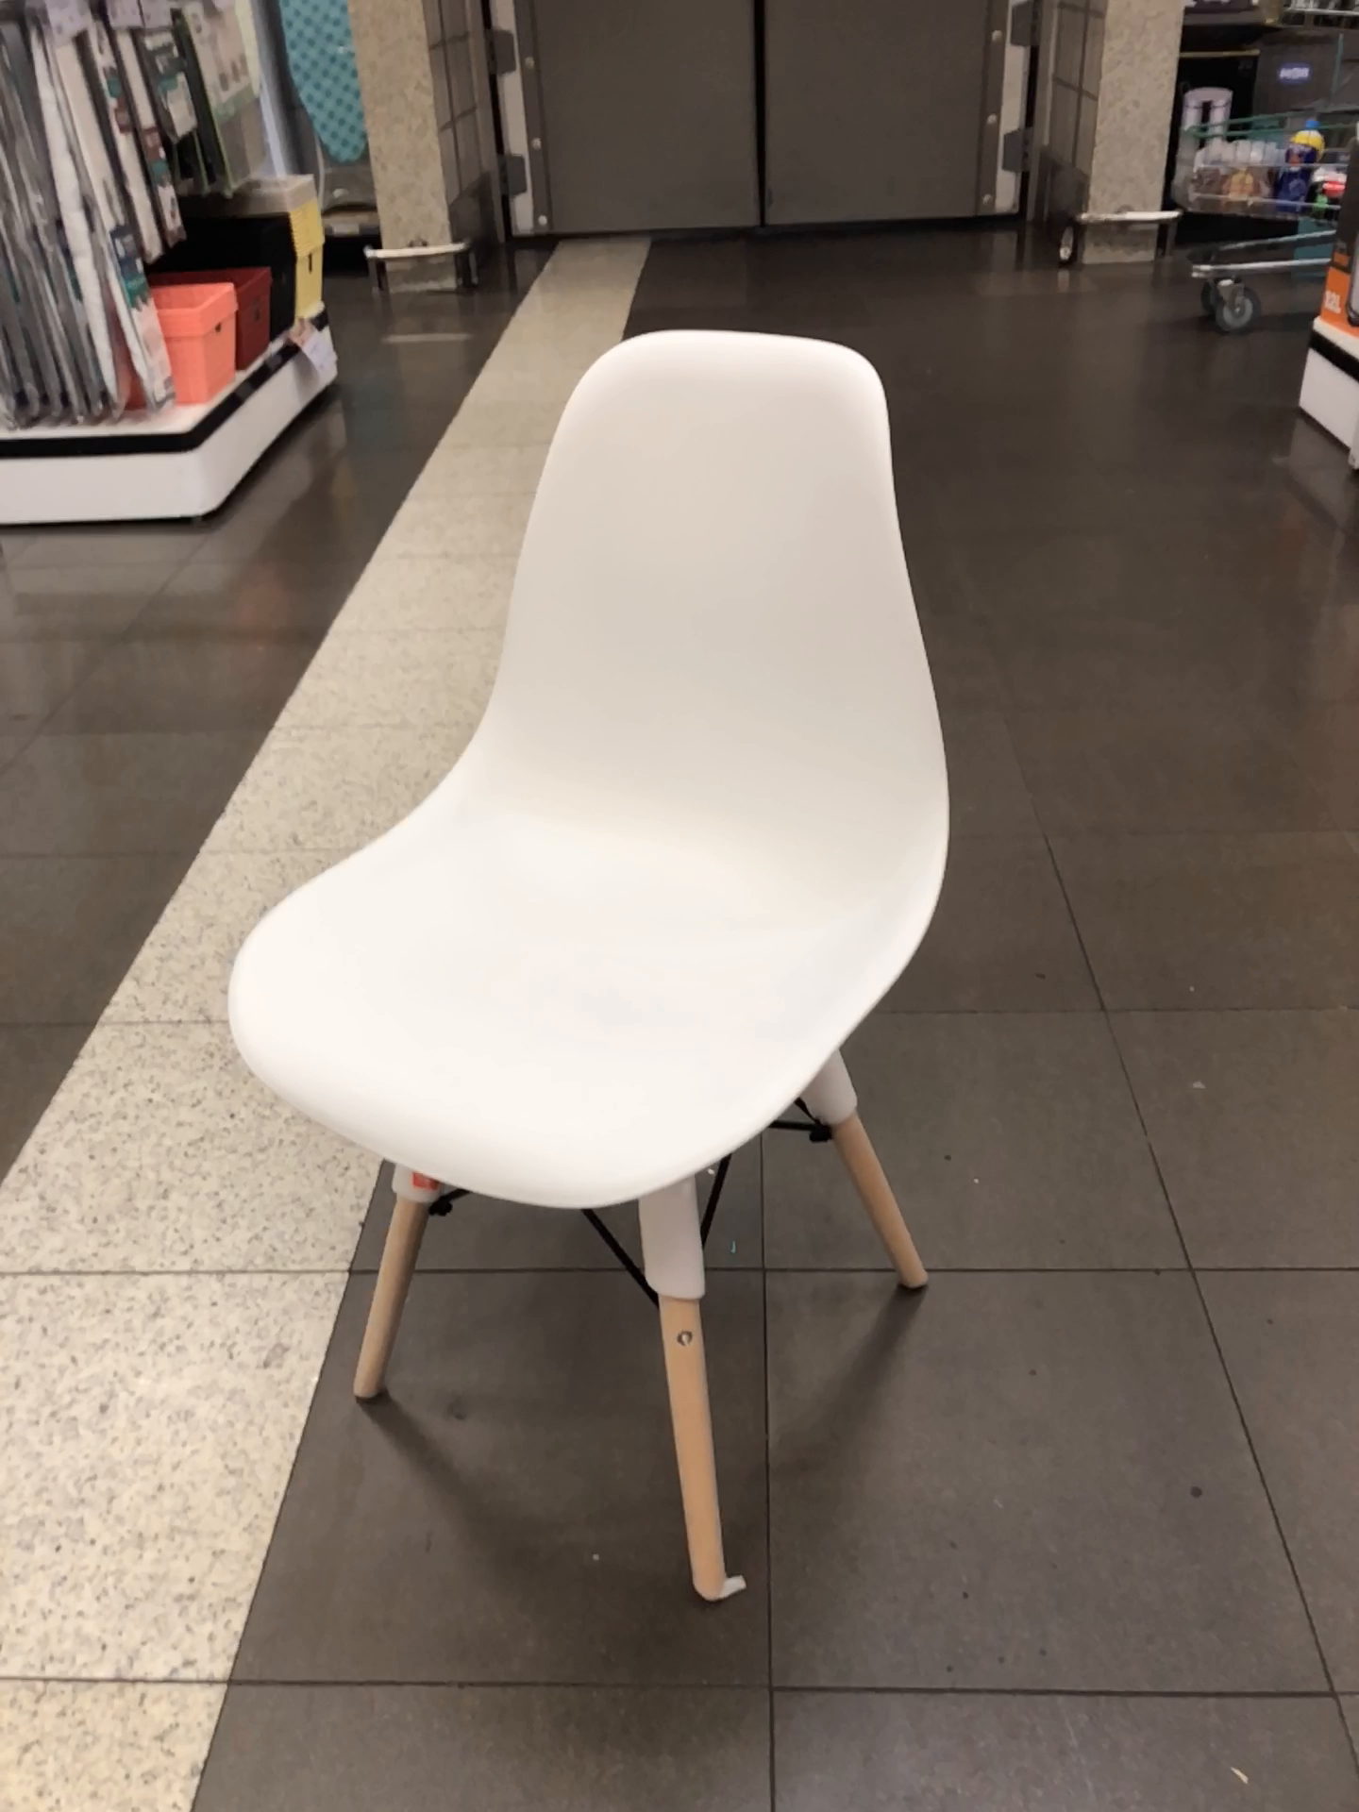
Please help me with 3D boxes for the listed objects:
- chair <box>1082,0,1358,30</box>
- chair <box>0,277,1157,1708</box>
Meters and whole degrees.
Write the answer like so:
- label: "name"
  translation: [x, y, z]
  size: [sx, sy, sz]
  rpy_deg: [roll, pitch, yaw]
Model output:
- label: "chair"
  translation: [2.011, -3.309, 4.590]
  size: [1.003, 0.992, 1.005]
  rpy_deg: [-24, 37, -30]
- label: "chair"
  translation: [-0.042, 0.012, 1.127]
  size: [0.522, 0.794, 0.543]
  rpy_deg: [19, 38, 32]
